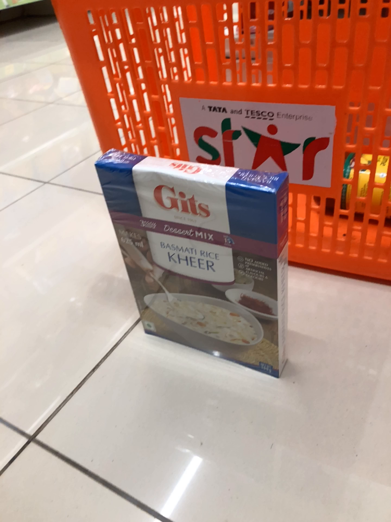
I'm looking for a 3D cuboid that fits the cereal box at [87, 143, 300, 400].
[{"bbox_3d":[0.003,0.010,0.288,0.120,0.159,0.030,14,41,27],"label":"cereal box"}]
